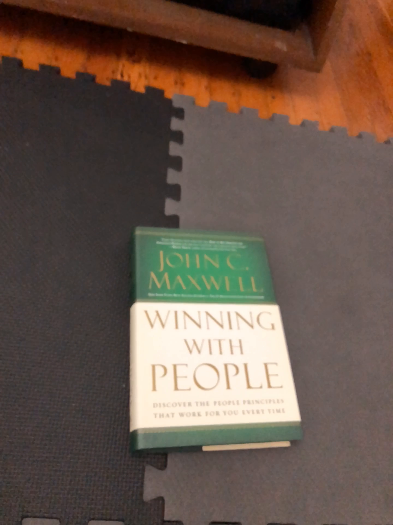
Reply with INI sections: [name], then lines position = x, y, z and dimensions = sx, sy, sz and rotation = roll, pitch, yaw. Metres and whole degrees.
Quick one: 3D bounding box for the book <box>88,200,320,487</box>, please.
[book]
position = 0.000, 0.066, 0.460
dimensions = 0.200, 0.030, 0.291
rotation = 4, 56, -13
